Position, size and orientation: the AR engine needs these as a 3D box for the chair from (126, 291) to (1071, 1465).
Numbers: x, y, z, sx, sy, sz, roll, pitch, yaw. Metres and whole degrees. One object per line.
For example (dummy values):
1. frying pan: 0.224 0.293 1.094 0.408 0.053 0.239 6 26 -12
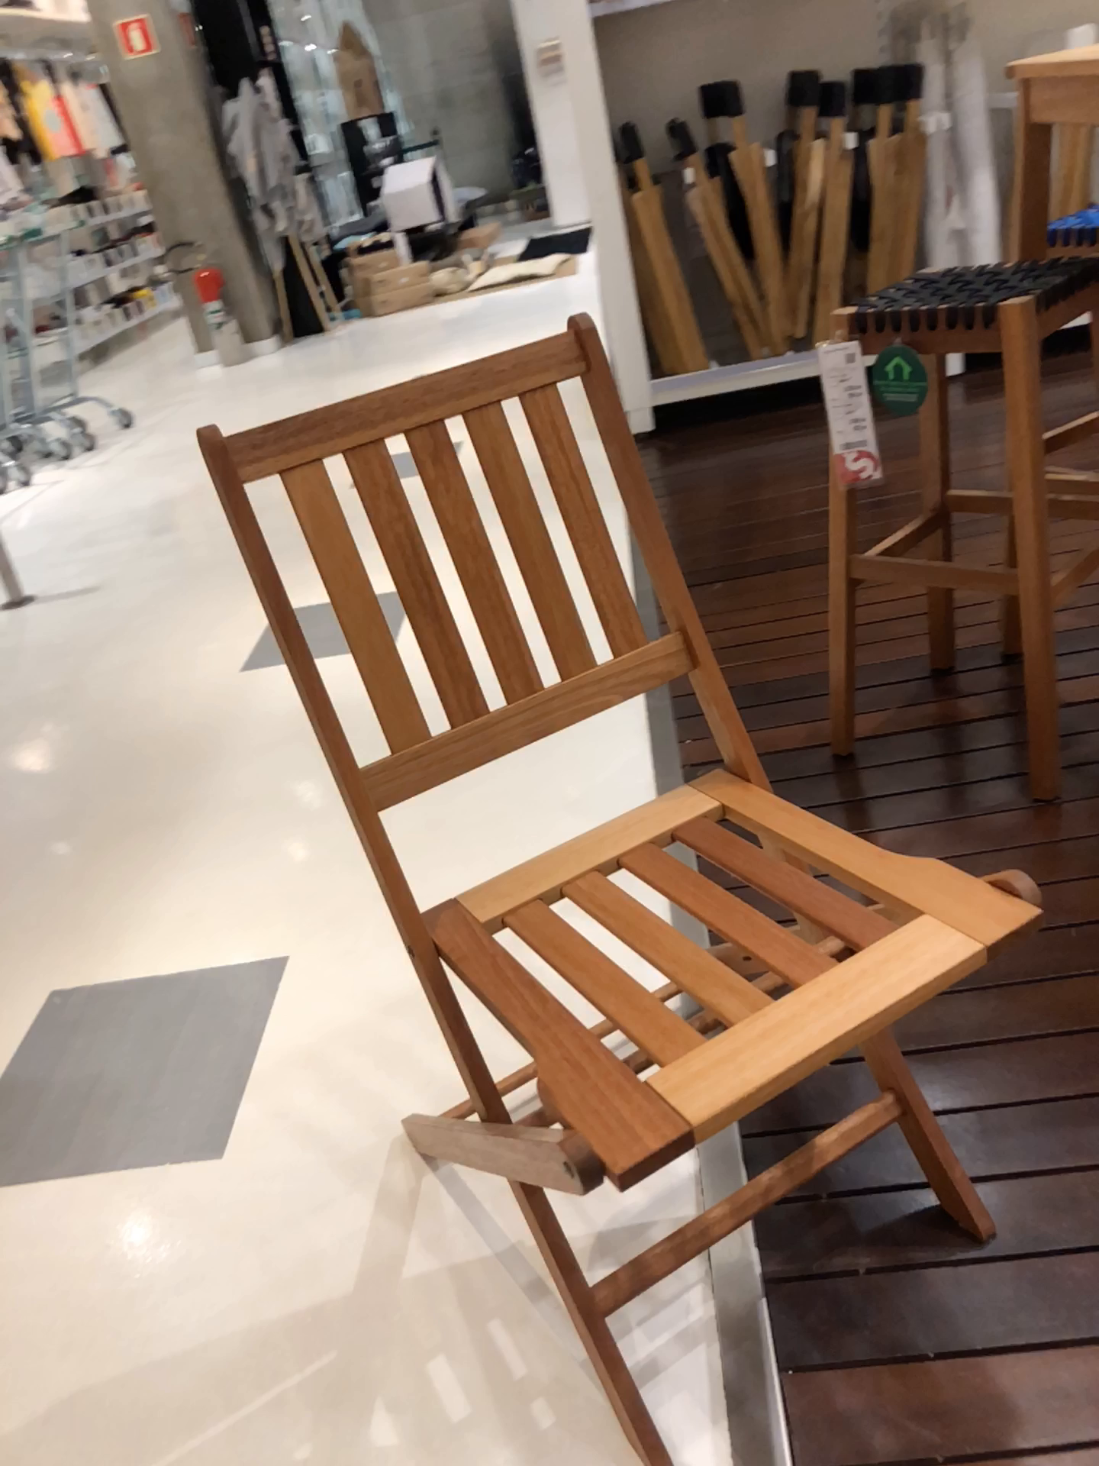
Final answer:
1. chair: 0.062 0.095 1.137 0.501 0.863 0.604 -25 29 -22
